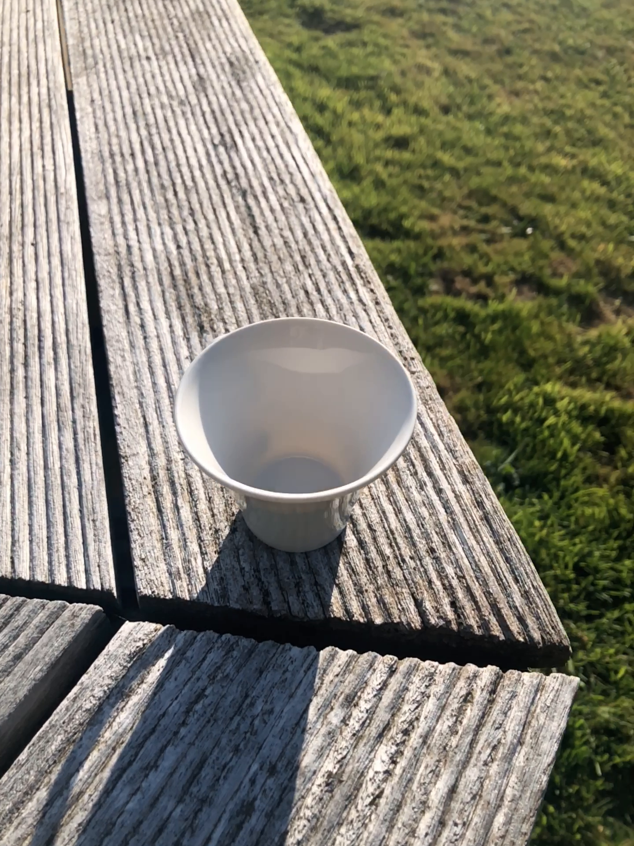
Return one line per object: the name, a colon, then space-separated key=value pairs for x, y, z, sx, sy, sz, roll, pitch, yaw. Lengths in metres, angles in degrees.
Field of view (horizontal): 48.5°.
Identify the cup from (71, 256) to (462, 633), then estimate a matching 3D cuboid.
cup: x=-0.017 y=0.002 z=0.241 sx=0.097 sy=0.053 sz=0.077 roll=36 pitch=56 yaw=24
